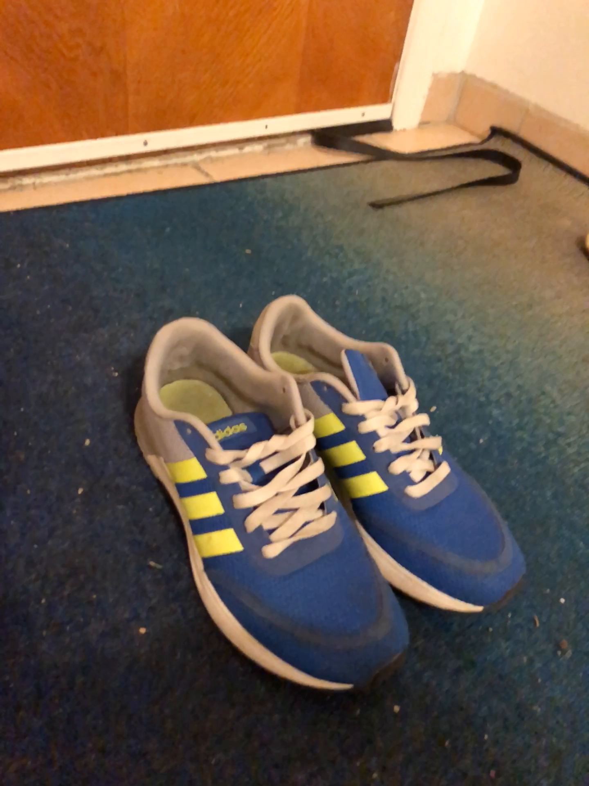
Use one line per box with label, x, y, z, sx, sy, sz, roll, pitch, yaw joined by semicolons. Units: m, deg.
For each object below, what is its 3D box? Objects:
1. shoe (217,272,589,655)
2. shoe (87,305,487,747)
shoe;0.063;0.028;0.457;0.110;0.089;0.261;-21;50;-31
shoe;-0.024;0.061;0.417;0.110;0.089;0.261;-21;50;-31
